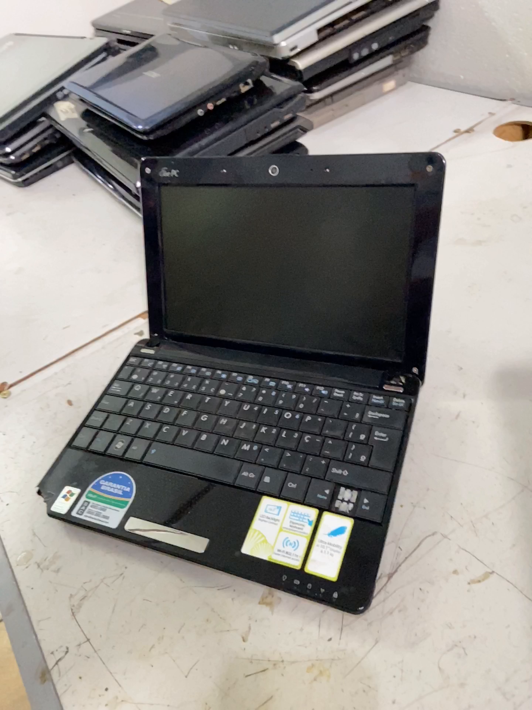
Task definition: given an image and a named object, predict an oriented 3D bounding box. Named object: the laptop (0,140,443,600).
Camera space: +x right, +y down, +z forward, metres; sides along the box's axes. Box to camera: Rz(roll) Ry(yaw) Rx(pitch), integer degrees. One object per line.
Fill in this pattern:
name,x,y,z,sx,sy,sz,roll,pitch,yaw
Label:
laptop,-0.027,-0.022,0.398,0.258,0.131,0.266,8,51,24
